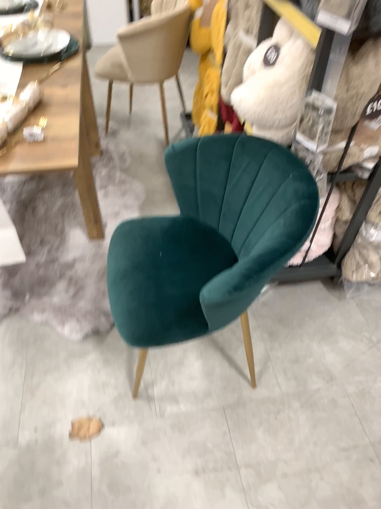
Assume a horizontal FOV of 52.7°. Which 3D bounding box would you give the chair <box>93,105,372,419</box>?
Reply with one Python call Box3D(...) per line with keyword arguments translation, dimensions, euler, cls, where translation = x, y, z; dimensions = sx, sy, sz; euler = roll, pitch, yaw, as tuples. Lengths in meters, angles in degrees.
Box3D(translation=(0.043, 0.050, 1.169), dimensions=(0.524, 0.754, 0.545), euler=(-5, 47, -6), cls="chair")
